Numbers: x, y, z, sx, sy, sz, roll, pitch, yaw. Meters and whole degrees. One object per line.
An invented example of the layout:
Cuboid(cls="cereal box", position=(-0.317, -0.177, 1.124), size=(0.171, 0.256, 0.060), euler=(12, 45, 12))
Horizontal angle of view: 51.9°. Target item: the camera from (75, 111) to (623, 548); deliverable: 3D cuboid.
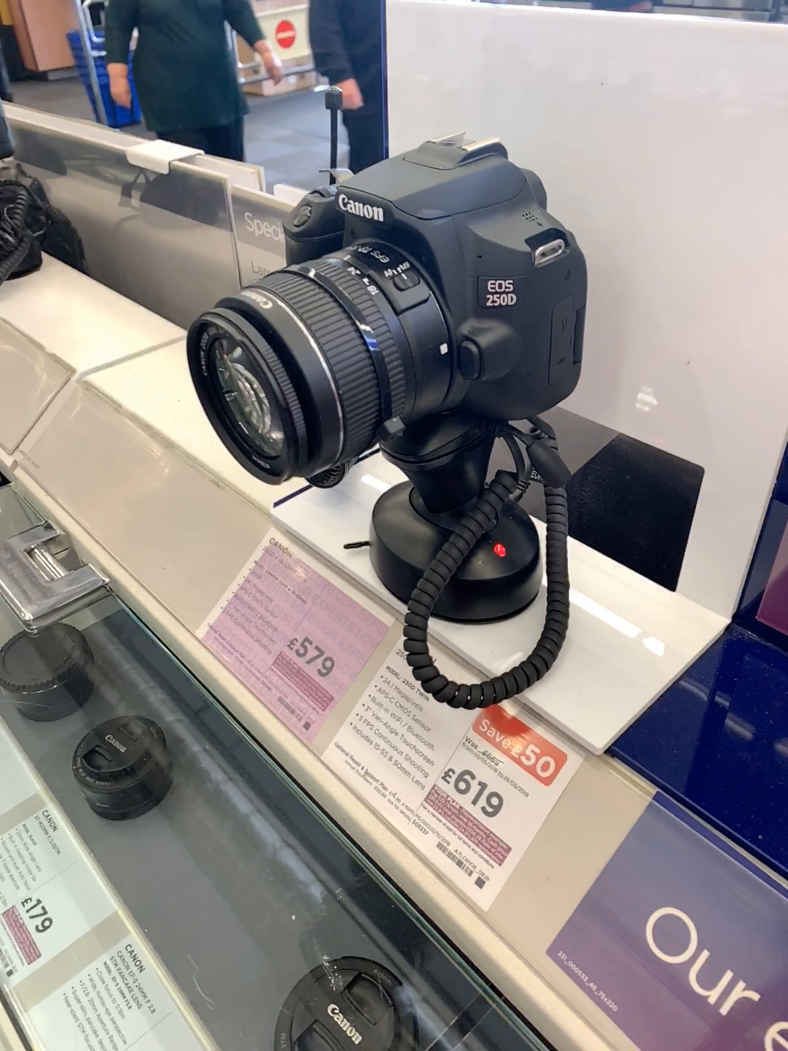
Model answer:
Cuboid(cls="camera", position=(-0.013, -0.085, 0.299), size=(0.141, 0.089, 0.121), euler=(-32, 46, -32))
